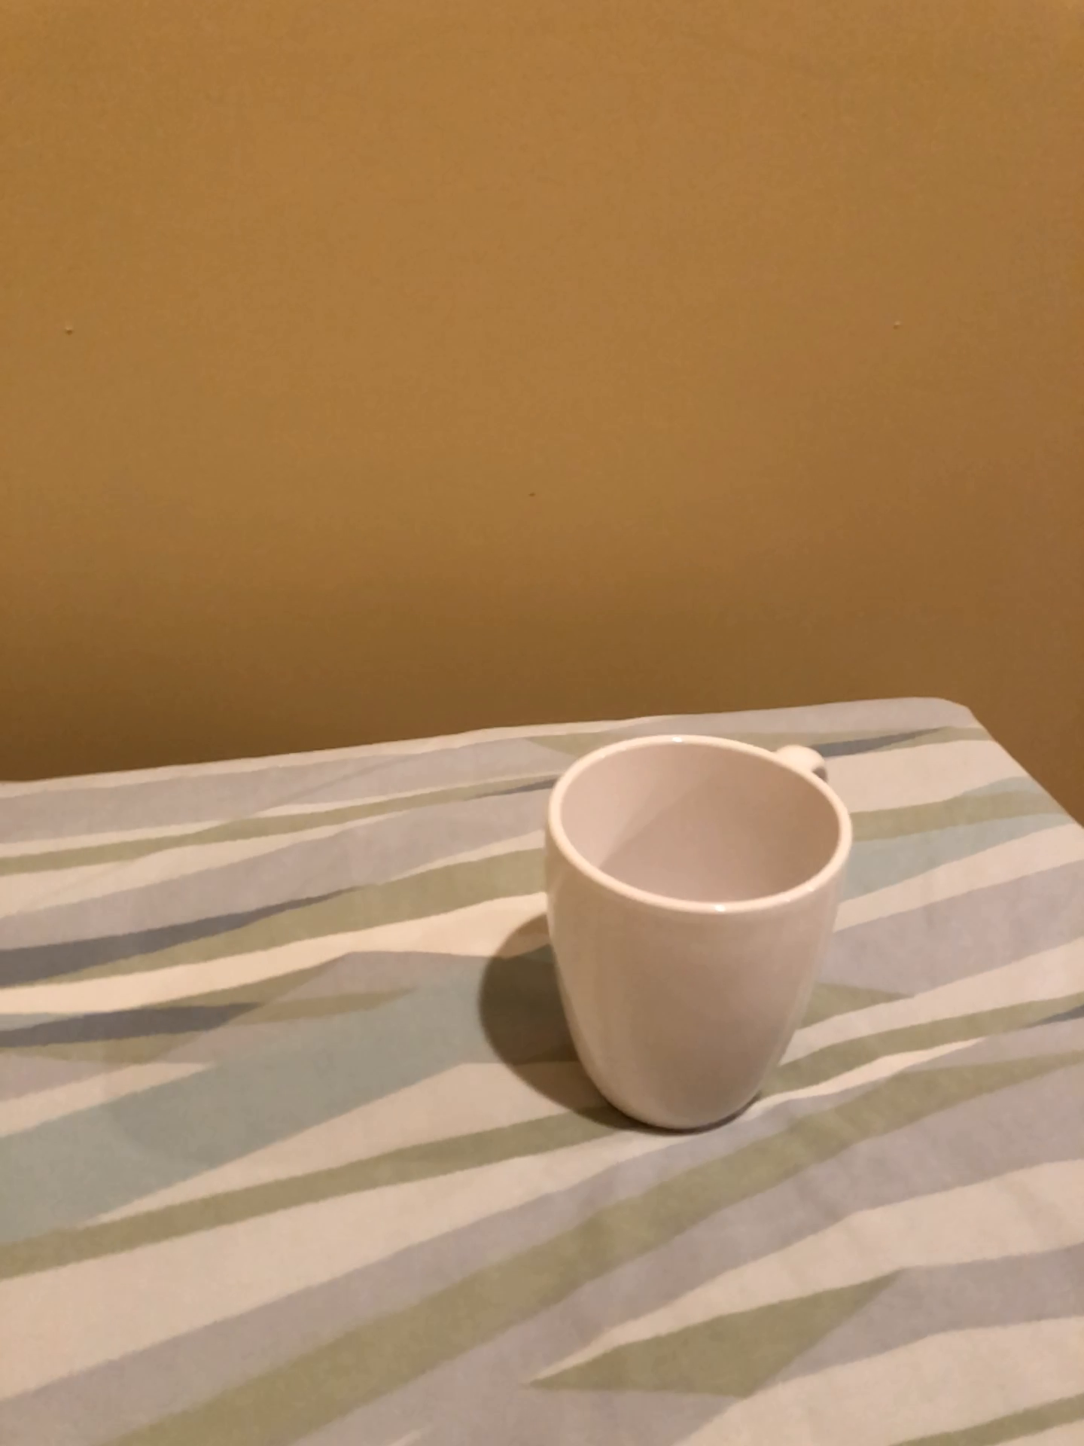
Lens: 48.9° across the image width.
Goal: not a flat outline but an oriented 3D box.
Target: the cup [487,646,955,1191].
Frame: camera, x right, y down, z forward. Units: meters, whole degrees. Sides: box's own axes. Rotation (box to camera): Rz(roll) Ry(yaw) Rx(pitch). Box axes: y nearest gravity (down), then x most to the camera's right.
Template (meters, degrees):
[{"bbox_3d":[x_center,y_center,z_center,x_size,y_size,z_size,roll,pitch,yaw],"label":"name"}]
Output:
[{"bbox_3d":[0.055,0.051,0.370,0.090,0.090,0.121,21,36,29],"label":"cup"}]
